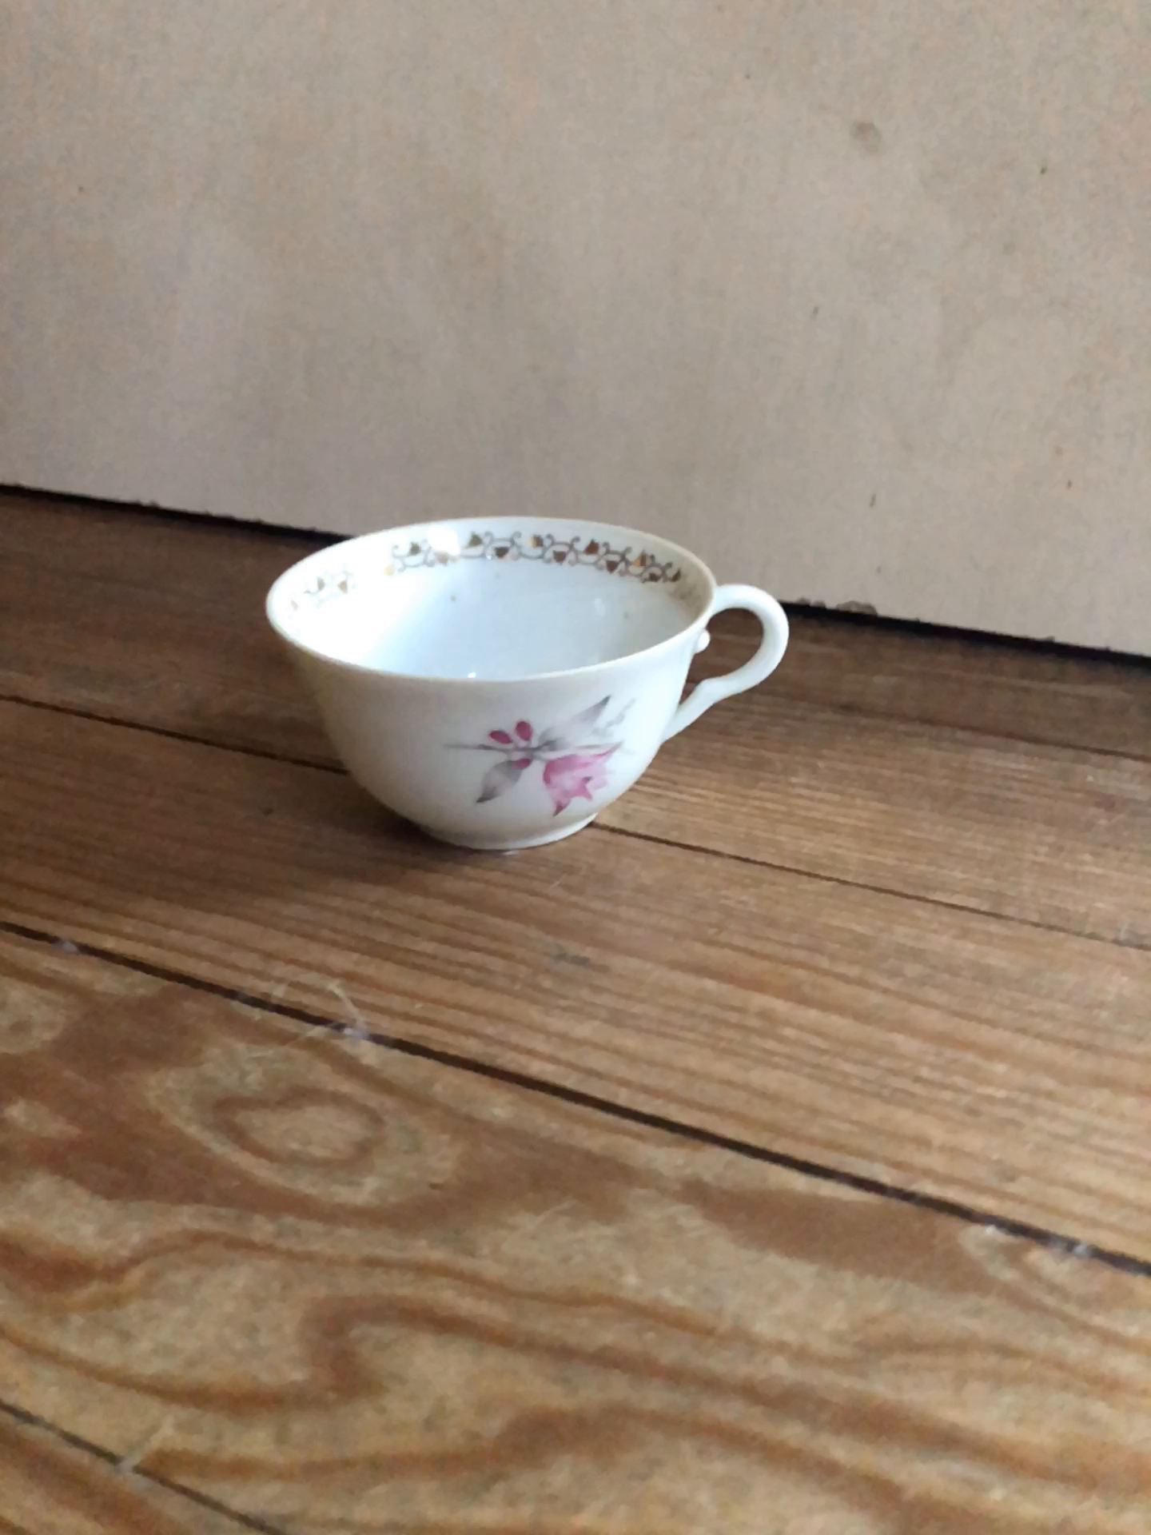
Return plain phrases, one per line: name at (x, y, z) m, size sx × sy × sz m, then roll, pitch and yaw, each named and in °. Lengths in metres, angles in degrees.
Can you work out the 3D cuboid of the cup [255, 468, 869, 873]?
cup at (-0.008, -0.024, 0.249) m, size 0.100 × 0.040 × 0.080 m, roll -6°, pitch 30°, yaw -10°
